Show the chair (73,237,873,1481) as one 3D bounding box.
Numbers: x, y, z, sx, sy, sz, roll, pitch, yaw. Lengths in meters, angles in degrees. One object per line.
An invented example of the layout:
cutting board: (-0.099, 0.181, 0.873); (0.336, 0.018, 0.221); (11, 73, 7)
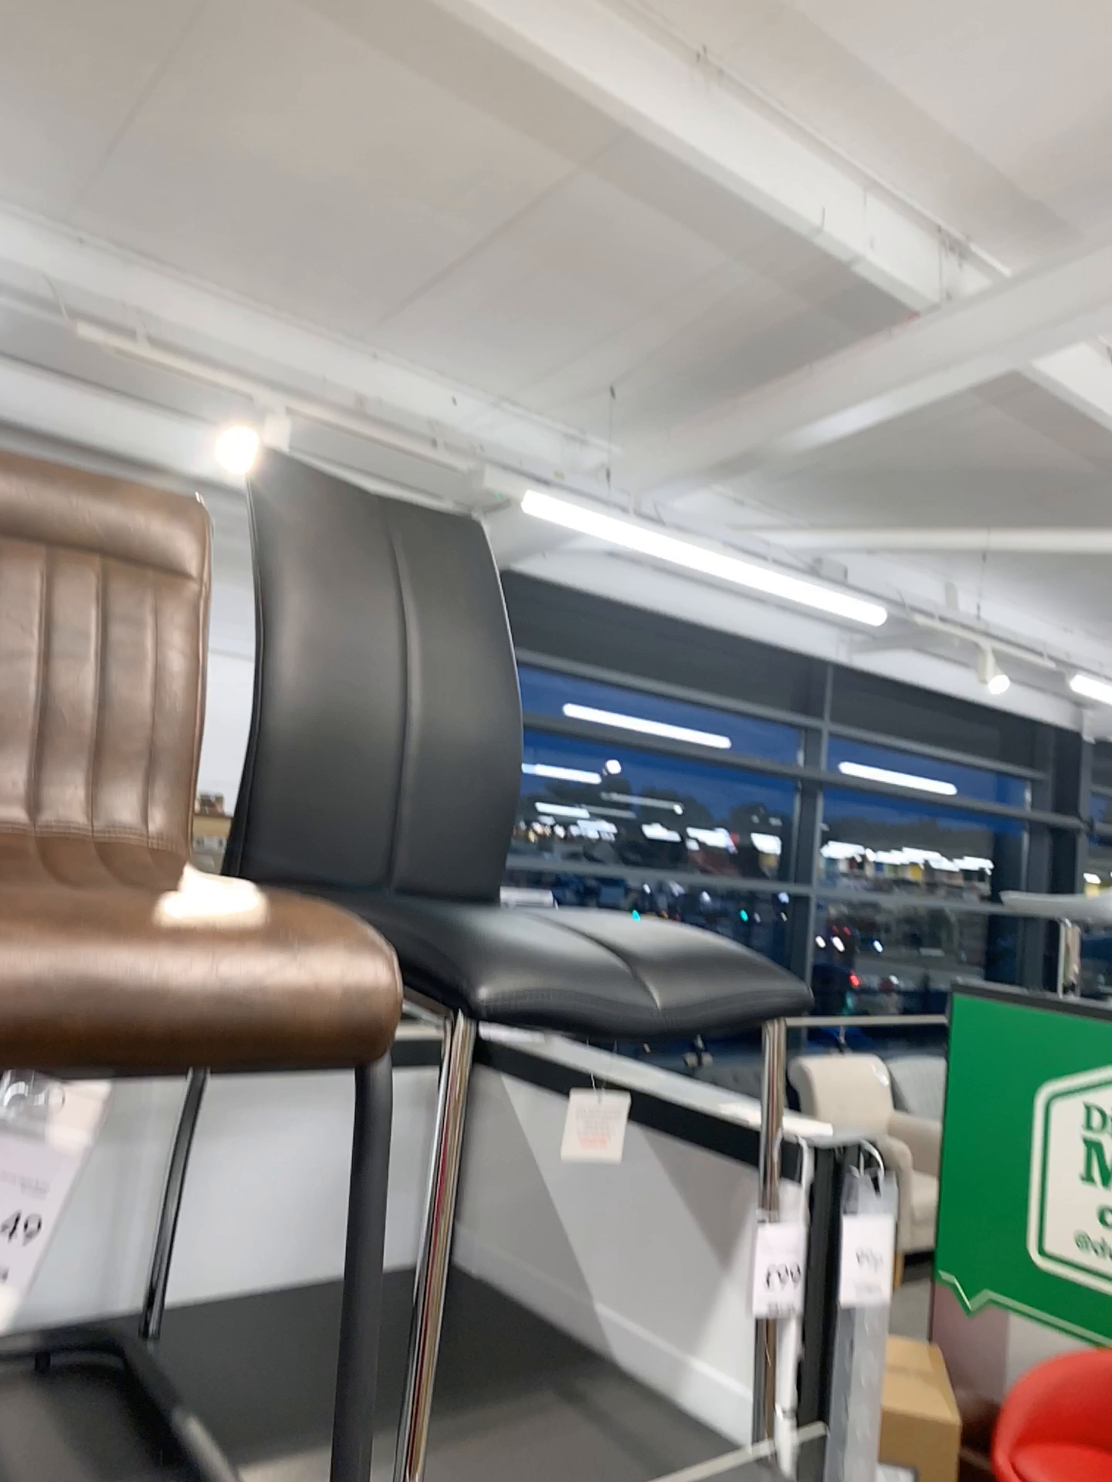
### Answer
chair: (-0.092, 0.138, 1.195); (0.473, 0.996, 0.583); (12, -9, -39)

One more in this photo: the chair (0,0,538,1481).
chair: (-0.455, 0.104, 0.852); (0.553, 0.886, 0.583); (11, -8, -36)
